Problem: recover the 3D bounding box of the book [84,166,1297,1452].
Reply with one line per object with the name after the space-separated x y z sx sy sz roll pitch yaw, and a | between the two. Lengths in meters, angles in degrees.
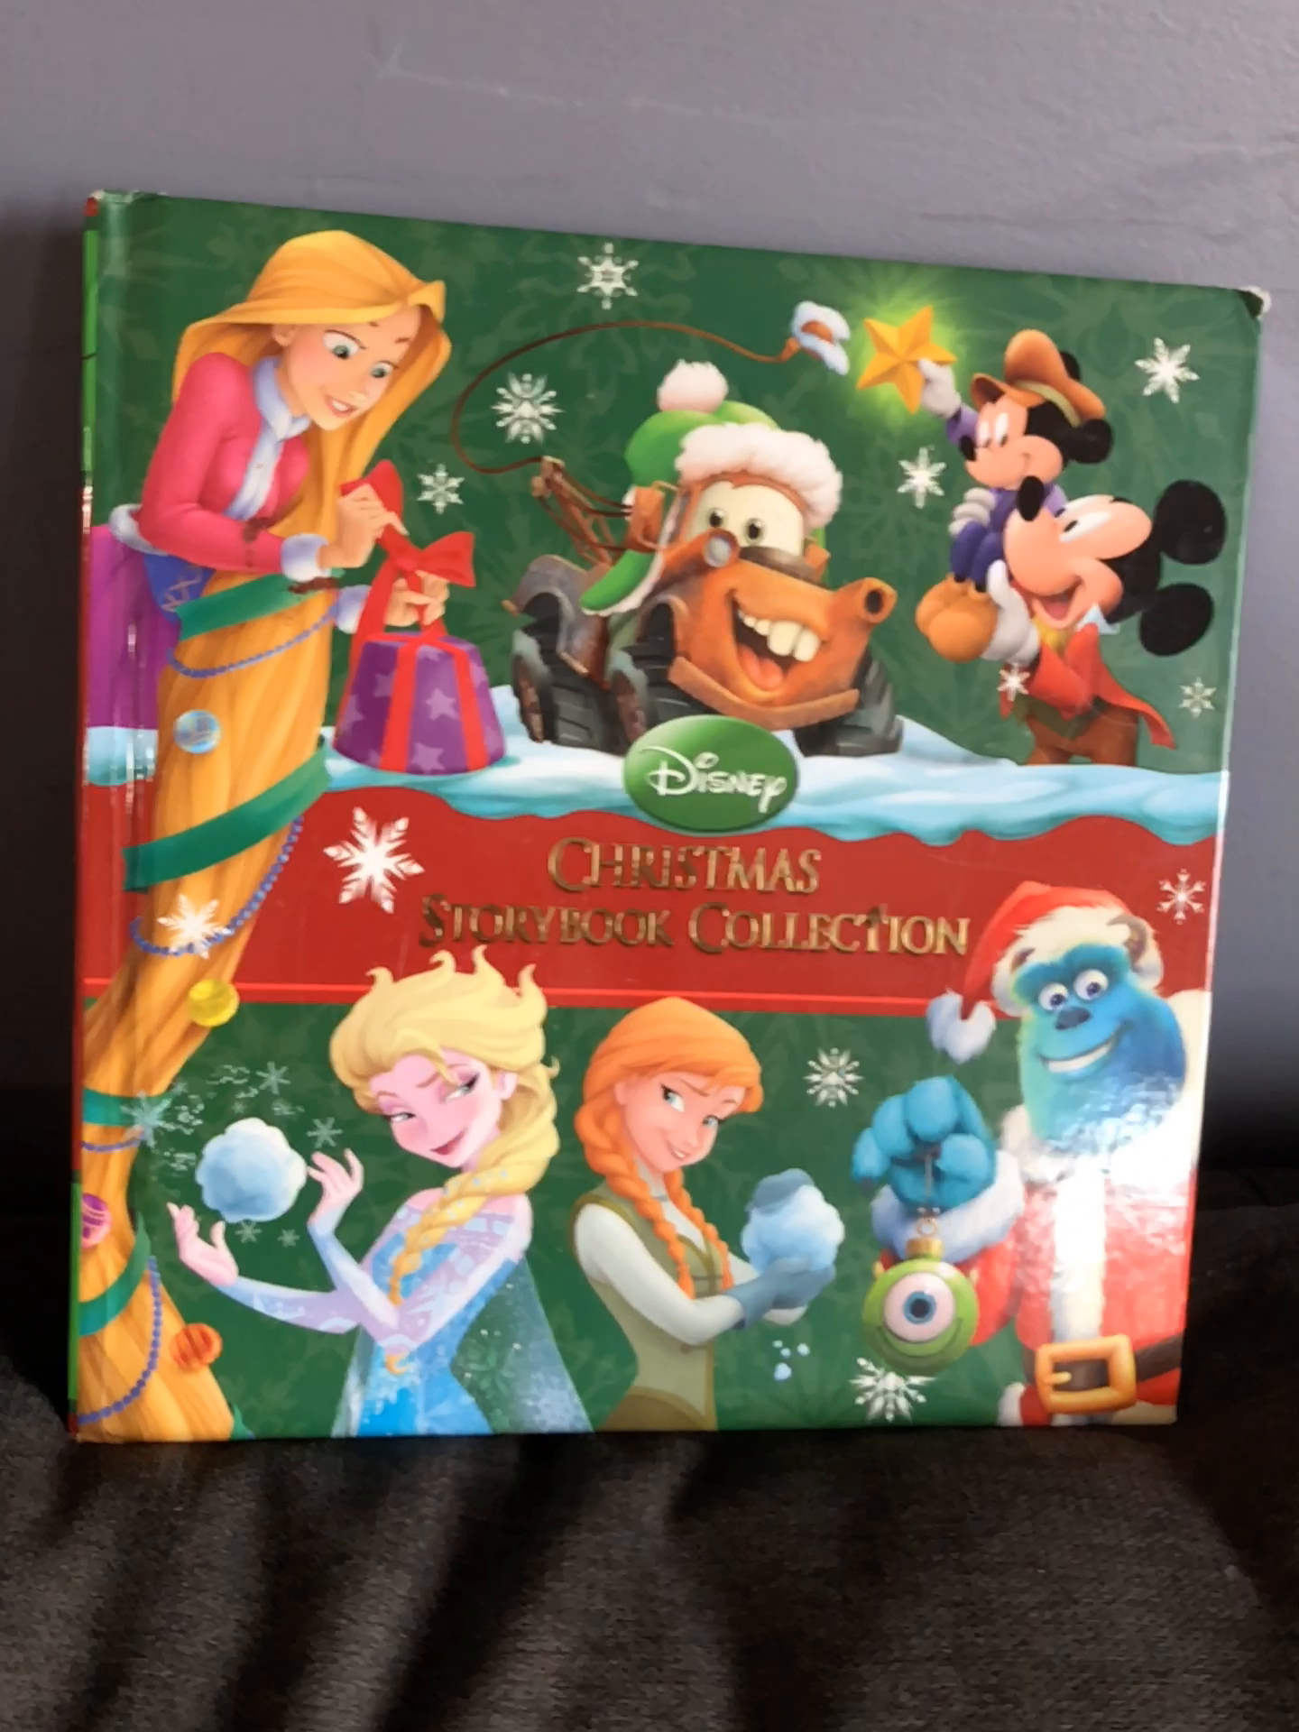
0.006 -0.003 0.298 0.227 0.238 0.033 2 7 -7 | book
